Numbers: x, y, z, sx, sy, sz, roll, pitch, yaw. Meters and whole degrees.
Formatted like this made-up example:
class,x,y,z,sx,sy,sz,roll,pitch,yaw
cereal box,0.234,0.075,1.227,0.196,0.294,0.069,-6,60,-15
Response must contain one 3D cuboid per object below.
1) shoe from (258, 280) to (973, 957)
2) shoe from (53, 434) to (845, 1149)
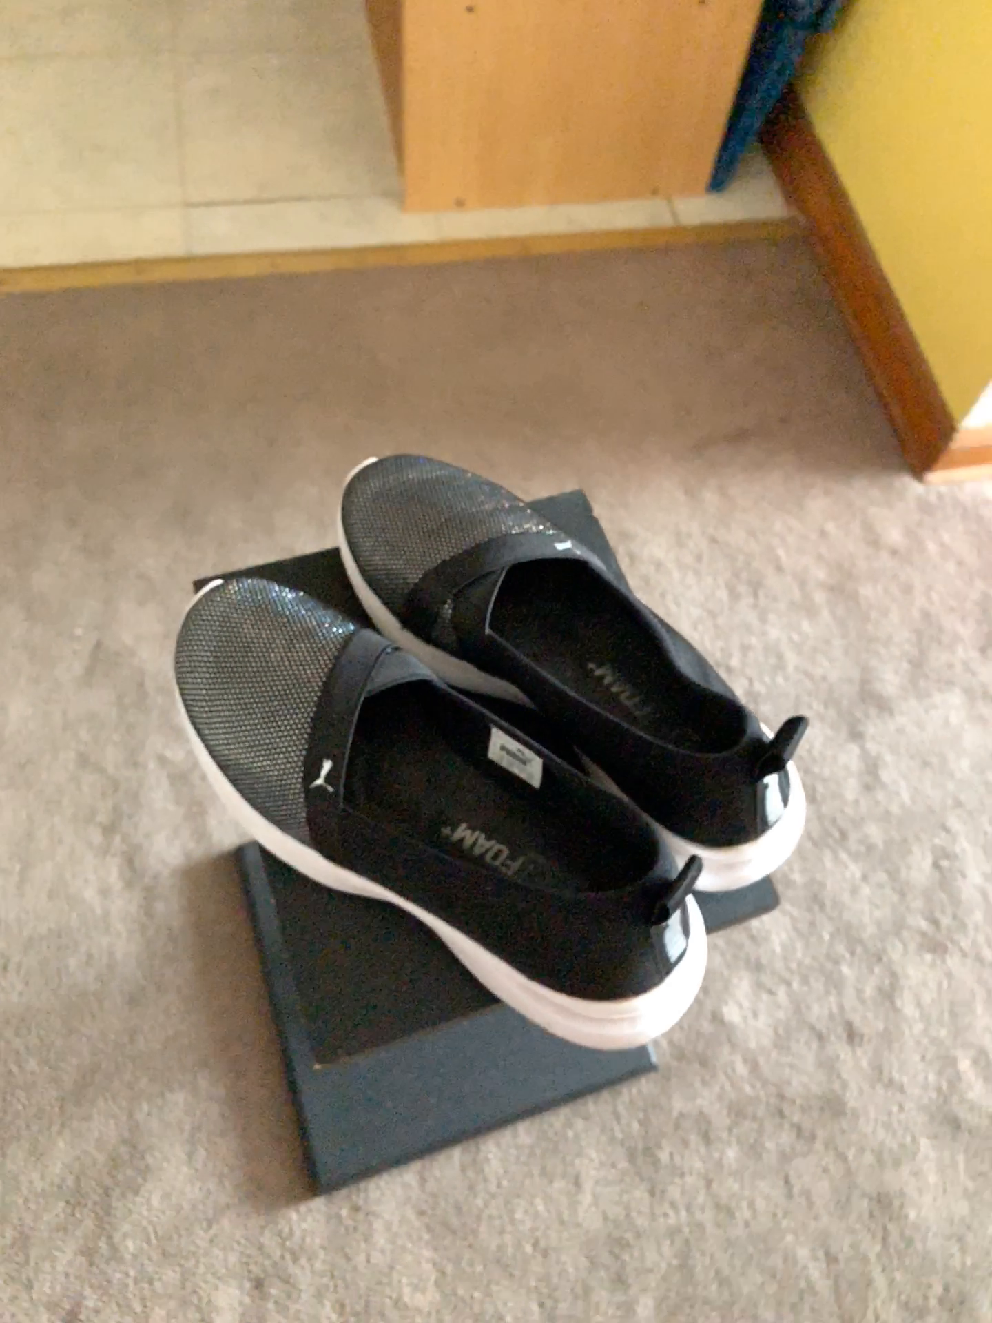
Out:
class,x,y,z,sx,sy,sz,roll,pitch,yaw
shoe,0.033,-0.021,0.418,0.261,0.099,0.100,42,66,16
shoe,-0.023,0.046,0.383,0.256,0.099,0.100,37,65,14
